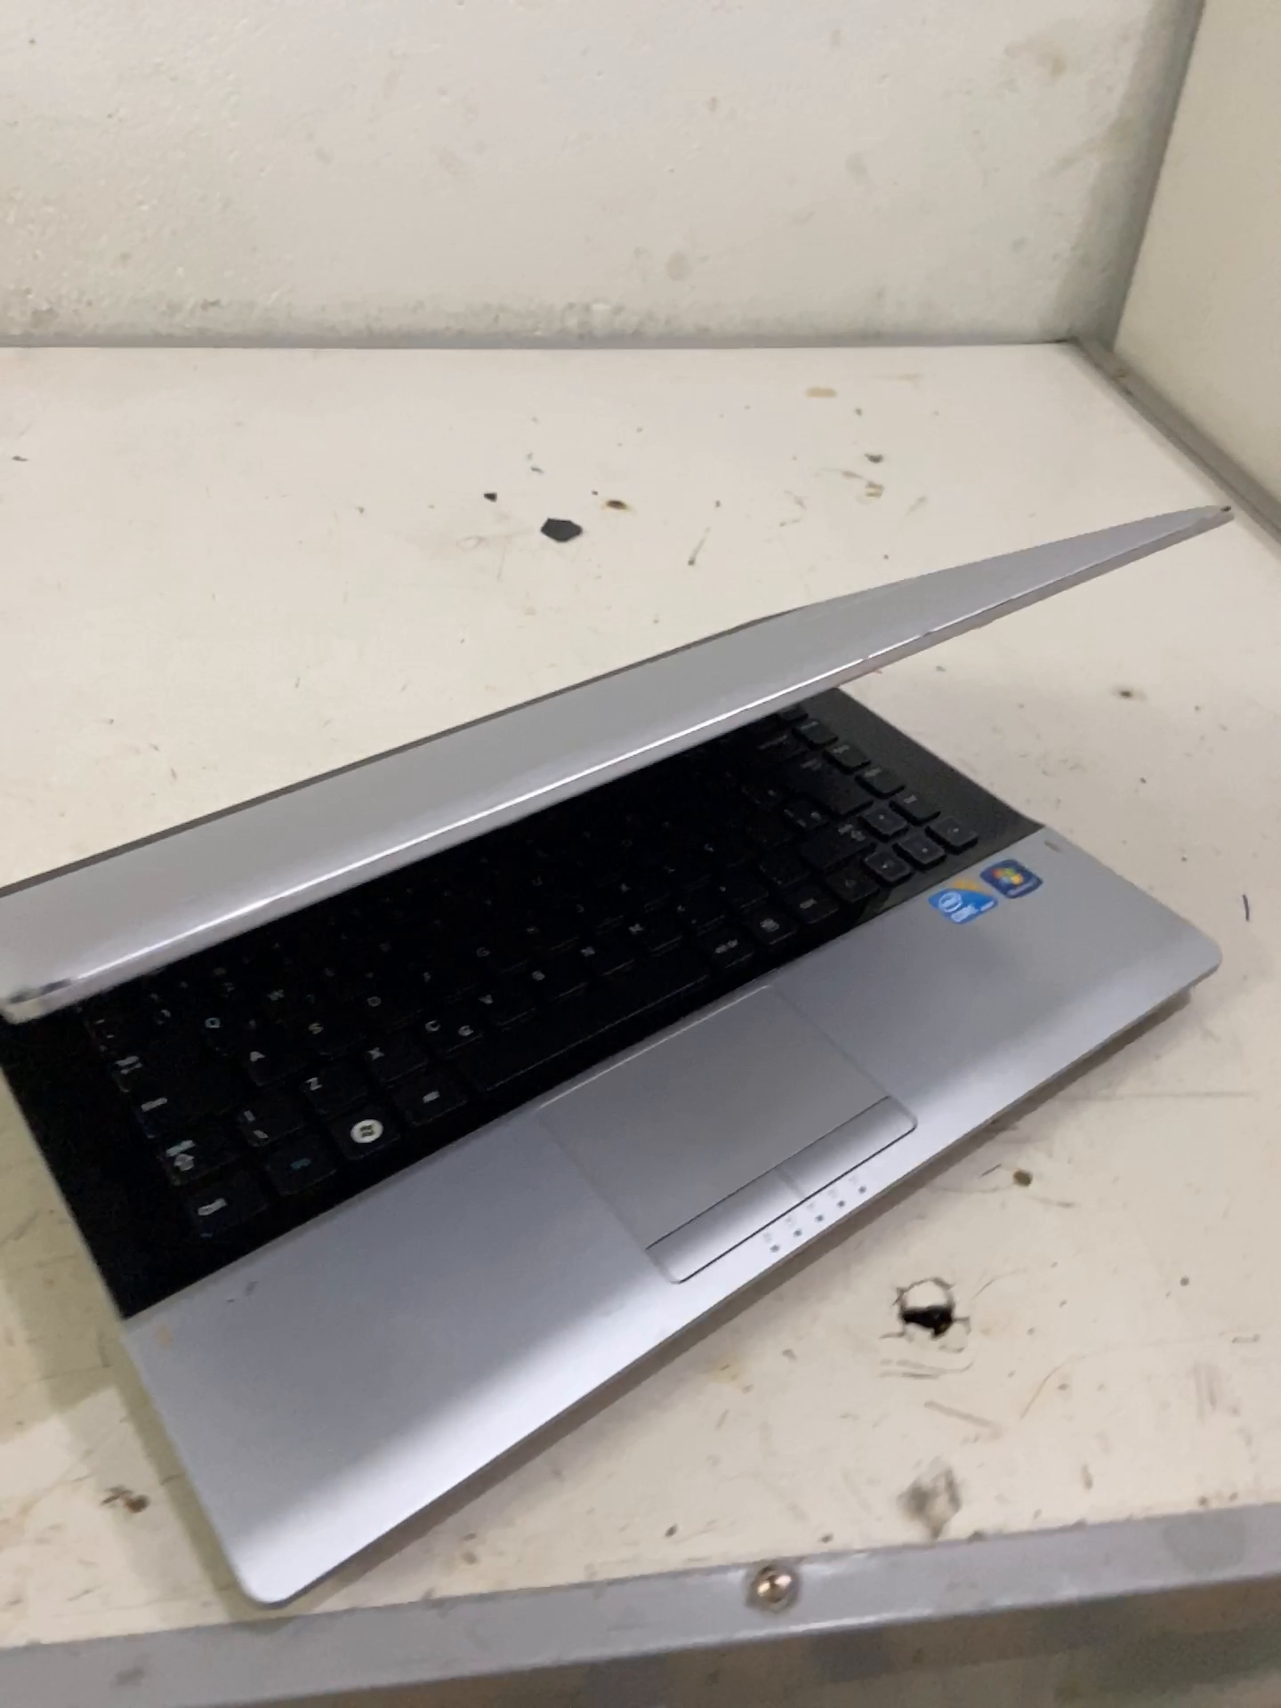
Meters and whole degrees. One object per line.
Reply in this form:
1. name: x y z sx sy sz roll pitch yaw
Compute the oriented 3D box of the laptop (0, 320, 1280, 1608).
1. laptop: -0.008 -0.023 0.376 0.337 0.133 0.233 -24 48 -30
